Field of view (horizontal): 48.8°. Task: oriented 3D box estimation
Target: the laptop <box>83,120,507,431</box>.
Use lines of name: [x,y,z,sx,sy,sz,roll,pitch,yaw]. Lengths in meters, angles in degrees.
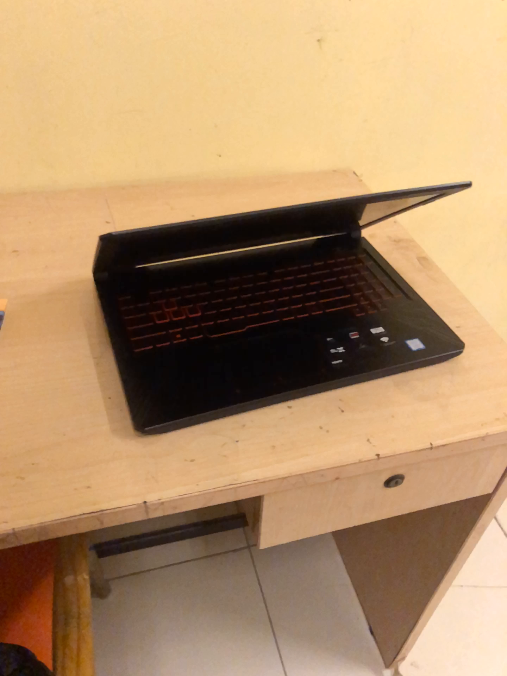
laptop: [0.030,-0.093,0.620,0.370,0.173,0.253,-12,43,-18]
